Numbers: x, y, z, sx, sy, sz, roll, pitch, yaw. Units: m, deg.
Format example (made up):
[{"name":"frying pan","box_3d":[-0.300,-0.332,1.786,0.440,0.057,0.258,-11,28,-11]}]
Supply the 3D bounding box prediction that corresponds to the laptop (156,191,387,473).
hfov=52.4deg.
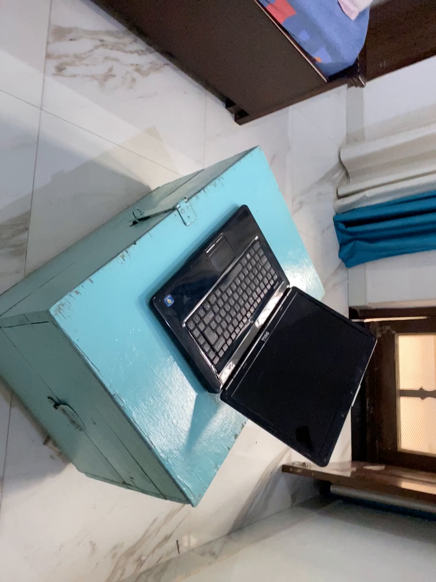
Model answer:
[{"name":"laptop","box_3d":[0.147,0.072,0.915,0.413,0.162,0.364,58,47,-22]}]
